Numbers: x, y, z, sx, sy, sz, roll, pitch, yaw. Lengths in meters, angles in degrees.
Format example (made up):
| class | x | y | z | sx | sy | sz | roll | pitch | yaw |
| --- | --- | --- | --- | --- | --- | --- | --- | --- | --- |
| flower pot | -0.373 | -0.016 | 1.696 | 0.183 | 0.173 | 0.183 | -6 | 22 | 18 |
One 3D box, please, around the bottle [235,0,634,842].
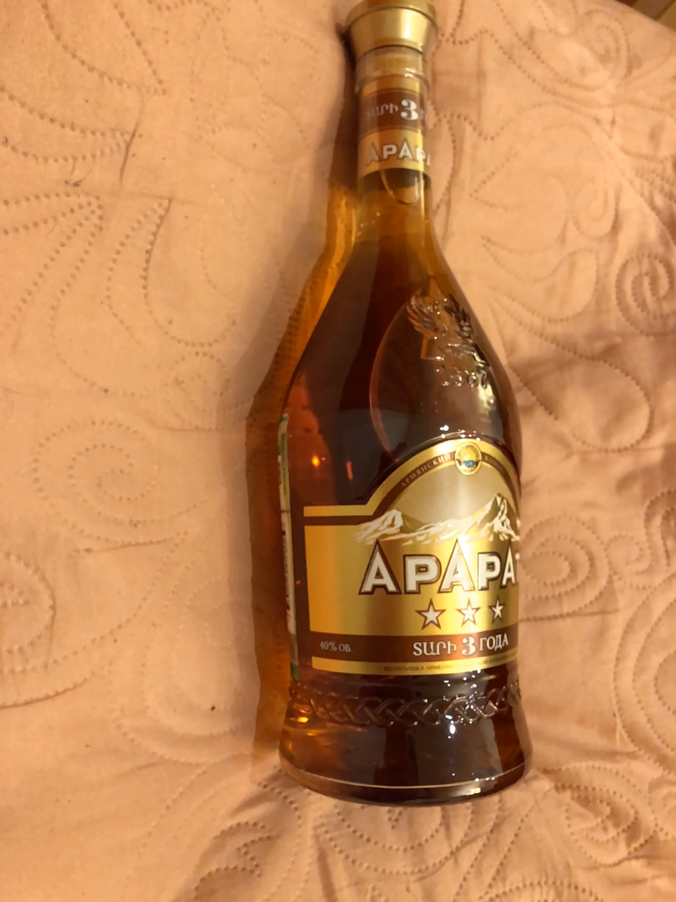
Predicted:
| class | x | y | z | sx | sy | sz | roll | pitch | yaw |
| --- | --- | --- | --- | --- | --- | --- | --- | --- | --- |
| bottle | 0.022 | -0.022 | 0.267 | 0.090 | 0.090 | 0.257 | -1 | 82 | -19 |
